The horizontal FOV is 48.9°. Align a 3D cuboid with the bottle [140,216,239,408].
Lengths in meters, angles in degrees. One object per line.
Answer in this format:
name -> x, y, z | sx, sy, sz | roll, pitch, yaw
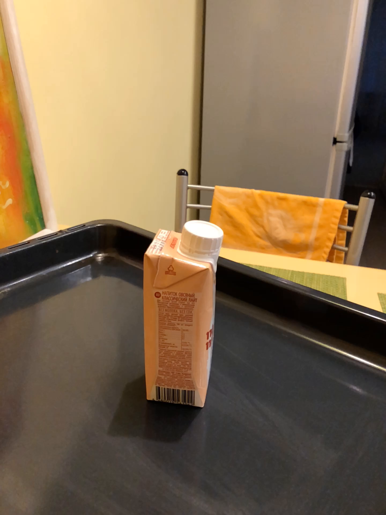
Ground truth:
bottle -> -0.002, 0.038, 0.310 | 0.060, 0.119, 0.060 | 2, 23, -1
